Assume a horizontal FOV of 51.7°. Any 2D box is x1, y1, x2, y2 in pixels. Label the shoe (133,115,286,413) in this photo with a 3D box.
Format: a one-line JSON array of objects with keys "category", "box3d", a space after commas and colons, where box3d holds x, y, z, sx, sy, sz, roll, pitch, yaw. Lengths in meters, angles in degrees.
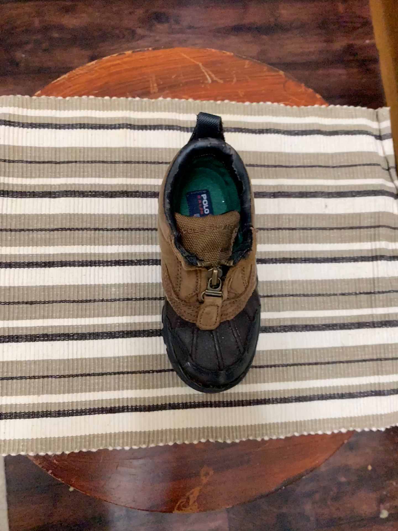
[{"category": "shoe", "box3d": [0.001, -0.001, 0.297, 0.080, 0.090, 0.180, -4, 83, -7]}]
